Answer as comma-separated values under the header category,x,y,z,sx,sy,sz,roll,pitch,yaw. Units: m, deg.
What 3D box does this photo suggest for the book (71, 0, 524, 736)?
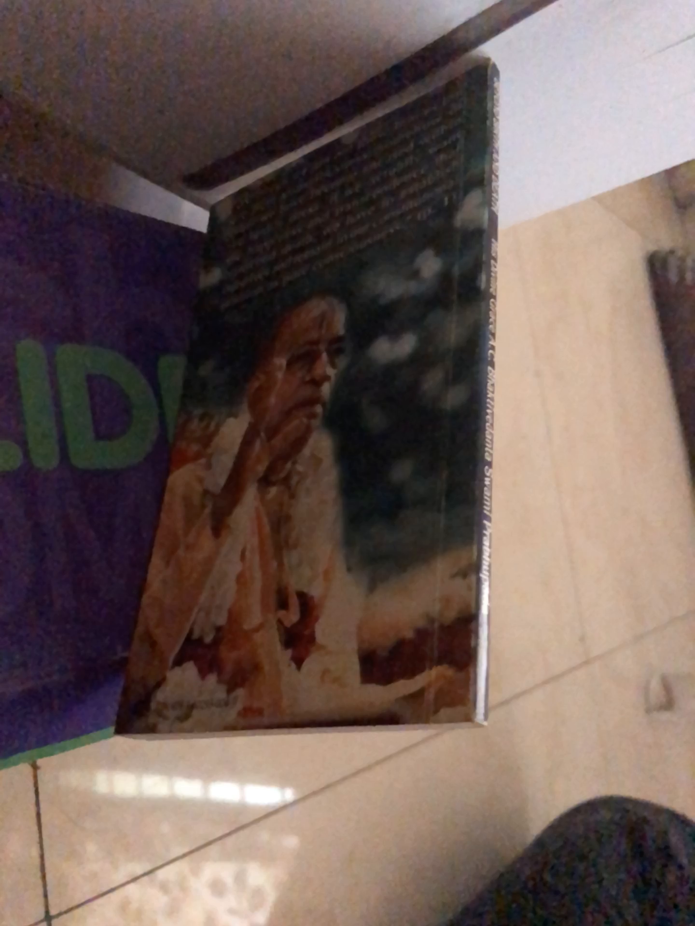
category,x,y,z,sx,sy,sz,roll,pitch,yaw
book,-0.014,-0.031,0.209,0.010,0.119,0.190,32,51,-43
